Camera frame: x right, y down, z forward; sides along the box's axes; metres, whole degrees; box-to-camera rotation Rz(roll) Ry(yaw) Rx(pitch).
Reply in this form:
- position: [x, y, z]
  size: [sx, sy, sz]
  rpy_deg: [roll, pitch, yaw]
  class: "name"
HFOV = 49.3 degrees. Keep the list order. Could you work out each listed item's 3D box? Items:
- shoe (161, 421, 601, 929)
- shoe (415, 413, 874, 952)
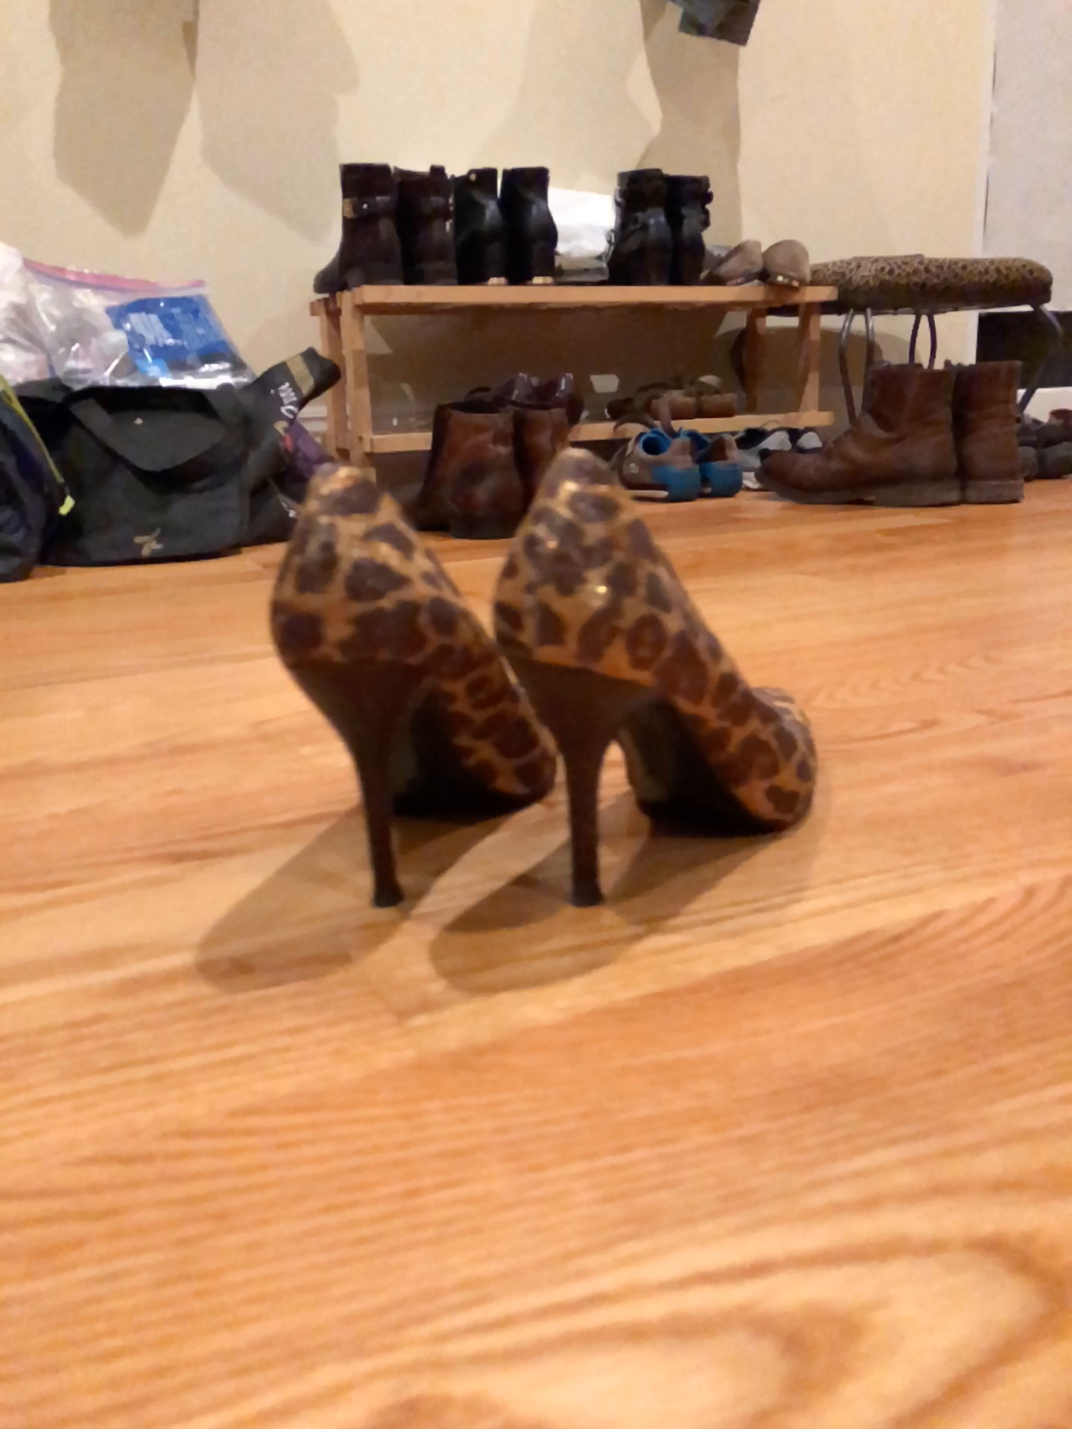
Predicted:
- position: [-0.039, -0.034, 0.449]
  size: [0.083, 0.144, 0.219]
  rpy_deg: [2, 15, 14]
  class: "shoe"
- position: [0.055, -0.033, 0.429]
  size: [0.084, 0.144, 0.219]
  rpy_deg: [6, 17, 27]
  class: "shoe"
